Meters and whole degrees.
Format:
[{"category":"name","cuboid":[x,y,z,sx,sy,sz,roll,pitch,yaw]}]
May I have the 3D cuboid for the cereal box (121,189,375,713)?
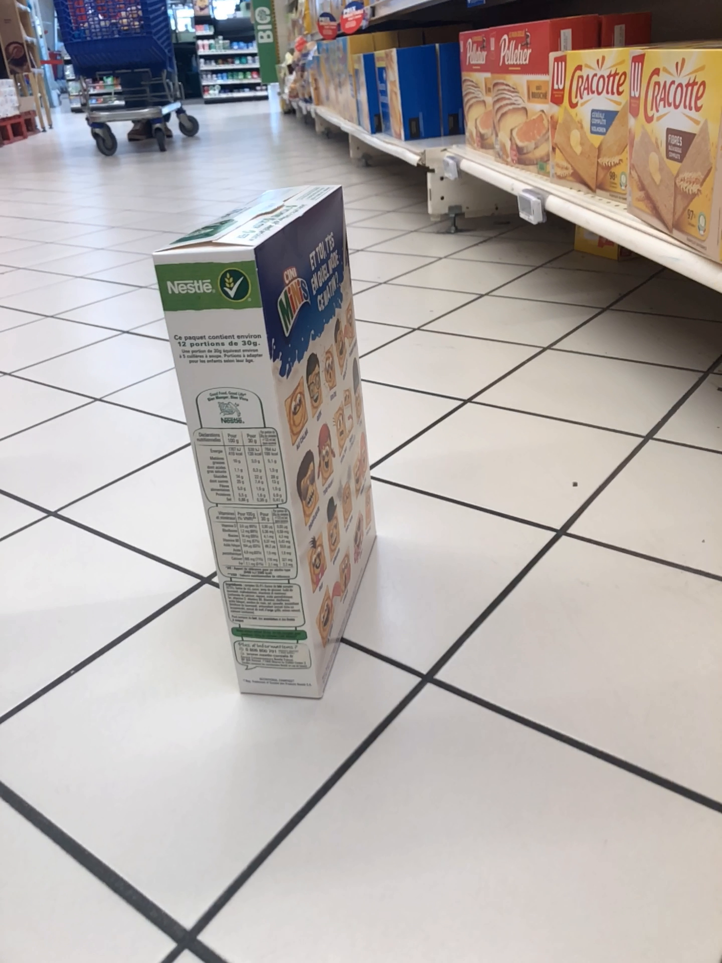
[{"category":"cereal box","cuboid":[-0.049,-0.029,0.505,0.070,0.268,0.201,1,27,11]}]
